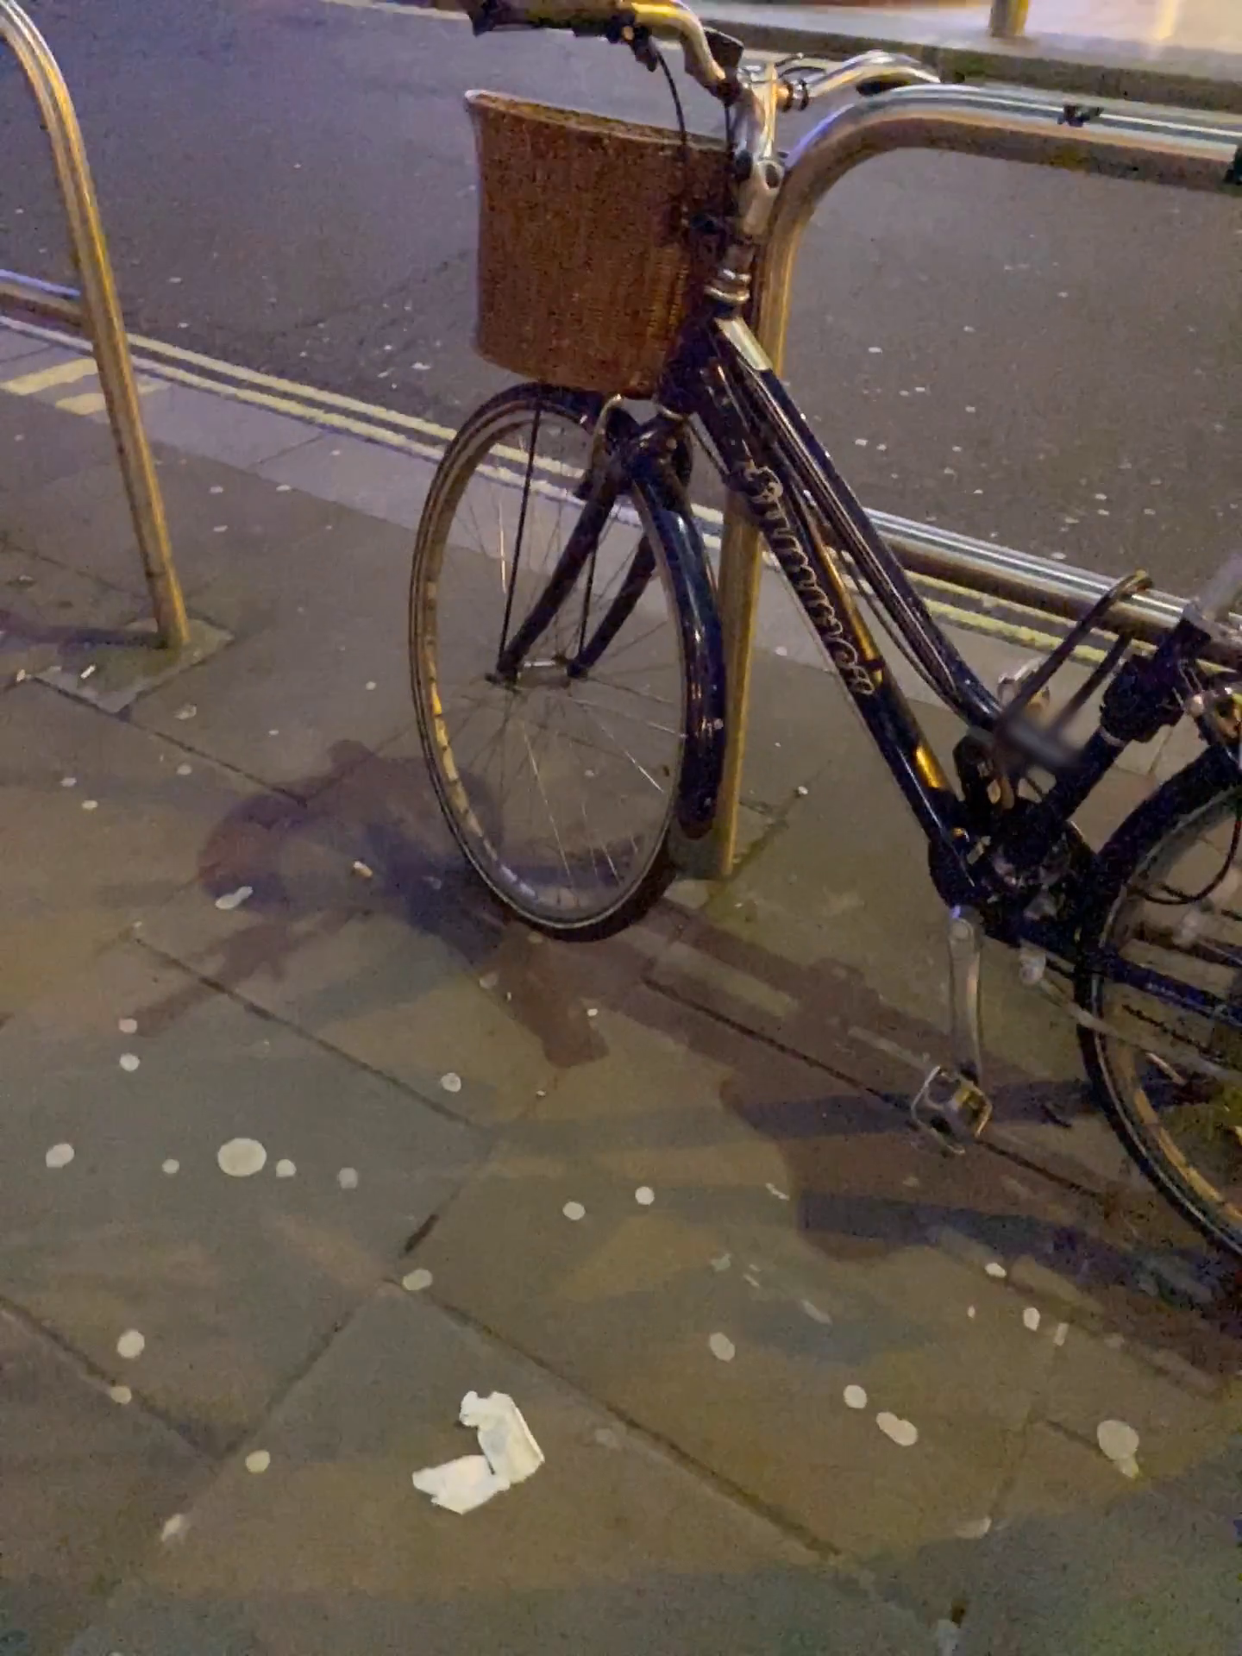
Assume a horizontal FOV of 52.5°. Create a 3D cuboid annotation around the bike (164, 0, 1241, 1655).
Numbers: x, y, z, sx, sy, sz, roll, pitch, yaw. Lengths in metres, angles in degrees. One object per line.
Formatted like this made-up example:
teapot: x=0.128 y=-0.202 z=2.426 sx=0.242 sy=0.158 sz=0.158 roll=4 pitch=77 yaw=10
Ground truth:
bike: x=0.420 y=-0.156 z=1.301 sx=1.713 sy=1.063 sz=0.662 roll=27 pitch=46 yaw=29
